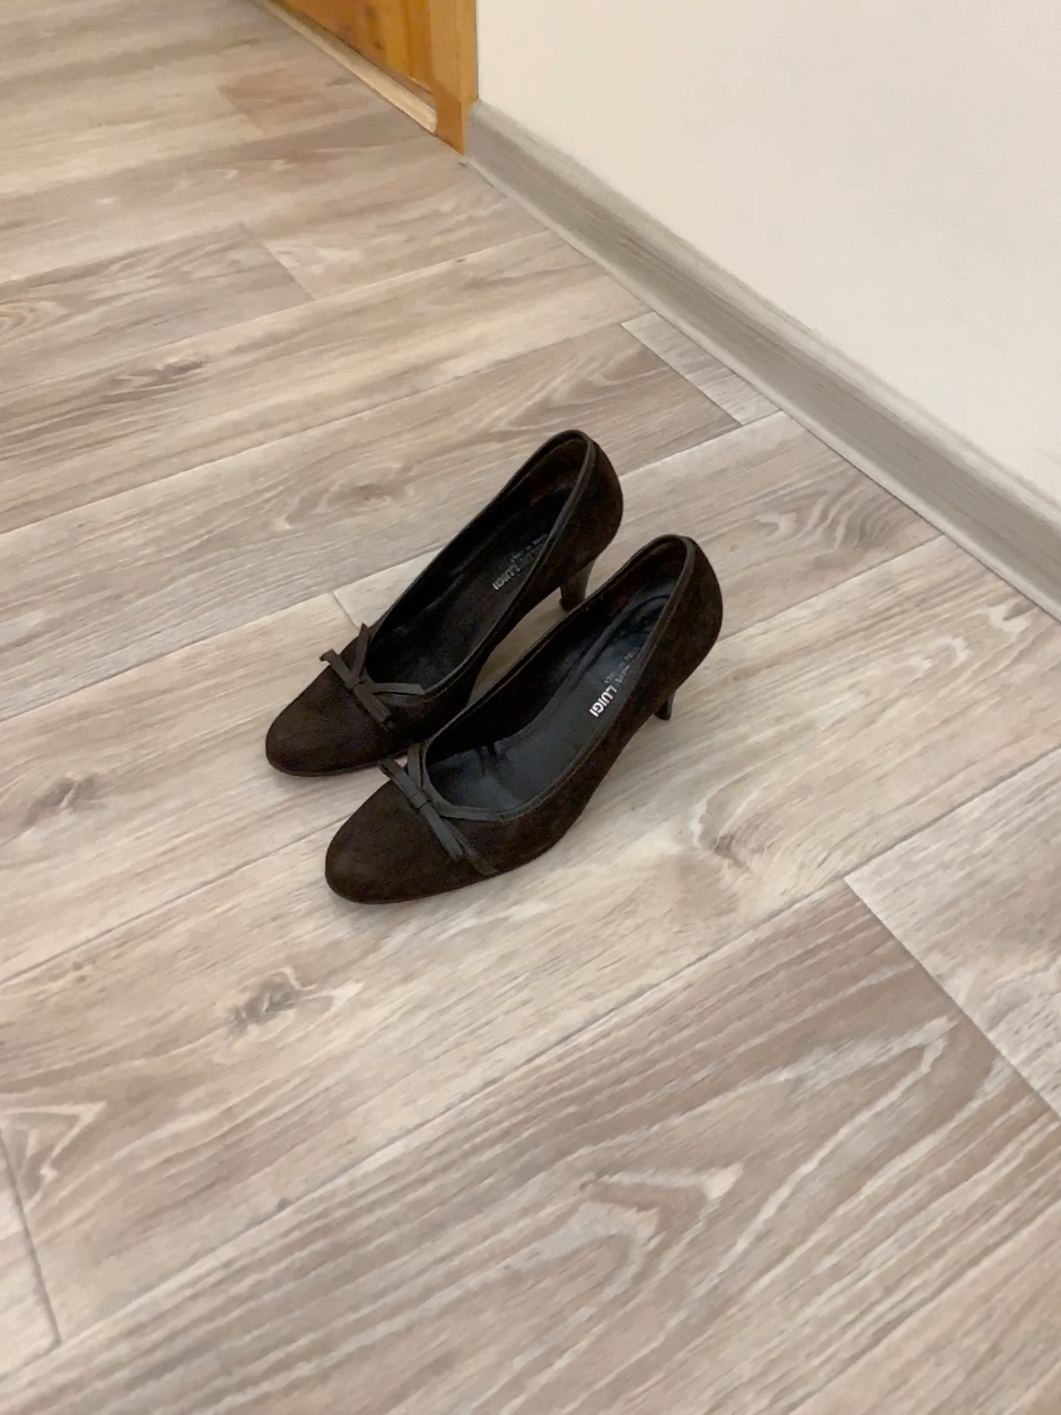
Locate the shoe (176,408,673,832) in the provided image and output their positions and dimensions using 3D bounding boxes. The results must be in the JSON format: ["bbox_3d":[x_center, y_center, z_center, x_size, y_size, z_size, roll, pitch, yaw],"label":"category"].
[{"bbox_3d":[-0.049,-0.055,0.611,0.260,0.109,0.080,-31,57,-22],"label":"shoe"}]

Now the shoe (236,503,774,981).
[{"bbox_3d":[-0.004,0.012,0.558,0.260,0.109,0.080,-32,58,-23],"label":"shoe"}]
